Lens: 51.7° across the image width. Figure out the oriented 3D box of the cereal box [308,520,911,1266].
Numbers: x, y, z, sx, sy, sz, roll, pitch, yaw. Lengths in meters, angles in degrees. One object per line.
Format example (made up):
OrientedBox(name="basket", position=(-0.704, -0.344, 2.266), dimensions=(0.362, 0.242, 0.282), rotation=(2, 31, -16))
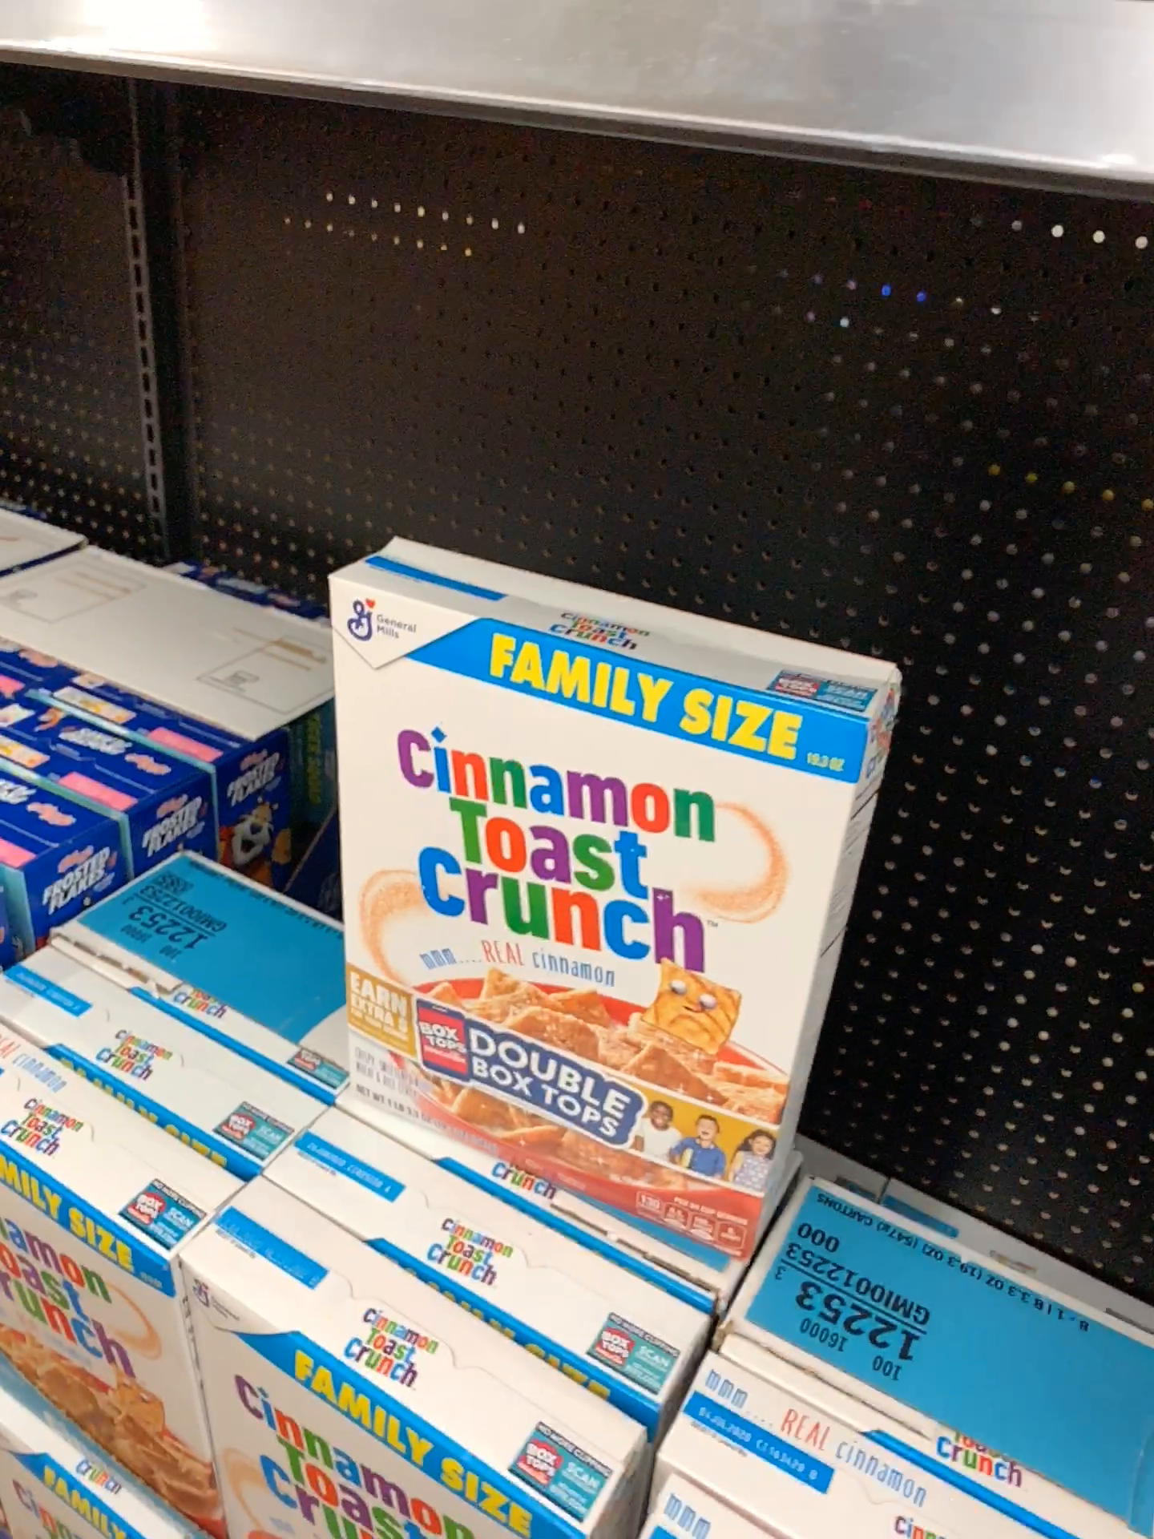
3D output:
OrientedBox(name="cereal box", position=(-0.002, 0.061, 0.555), dimensions=(0.240, 0.298, 0.060), rotation=(17, 32, 20))
